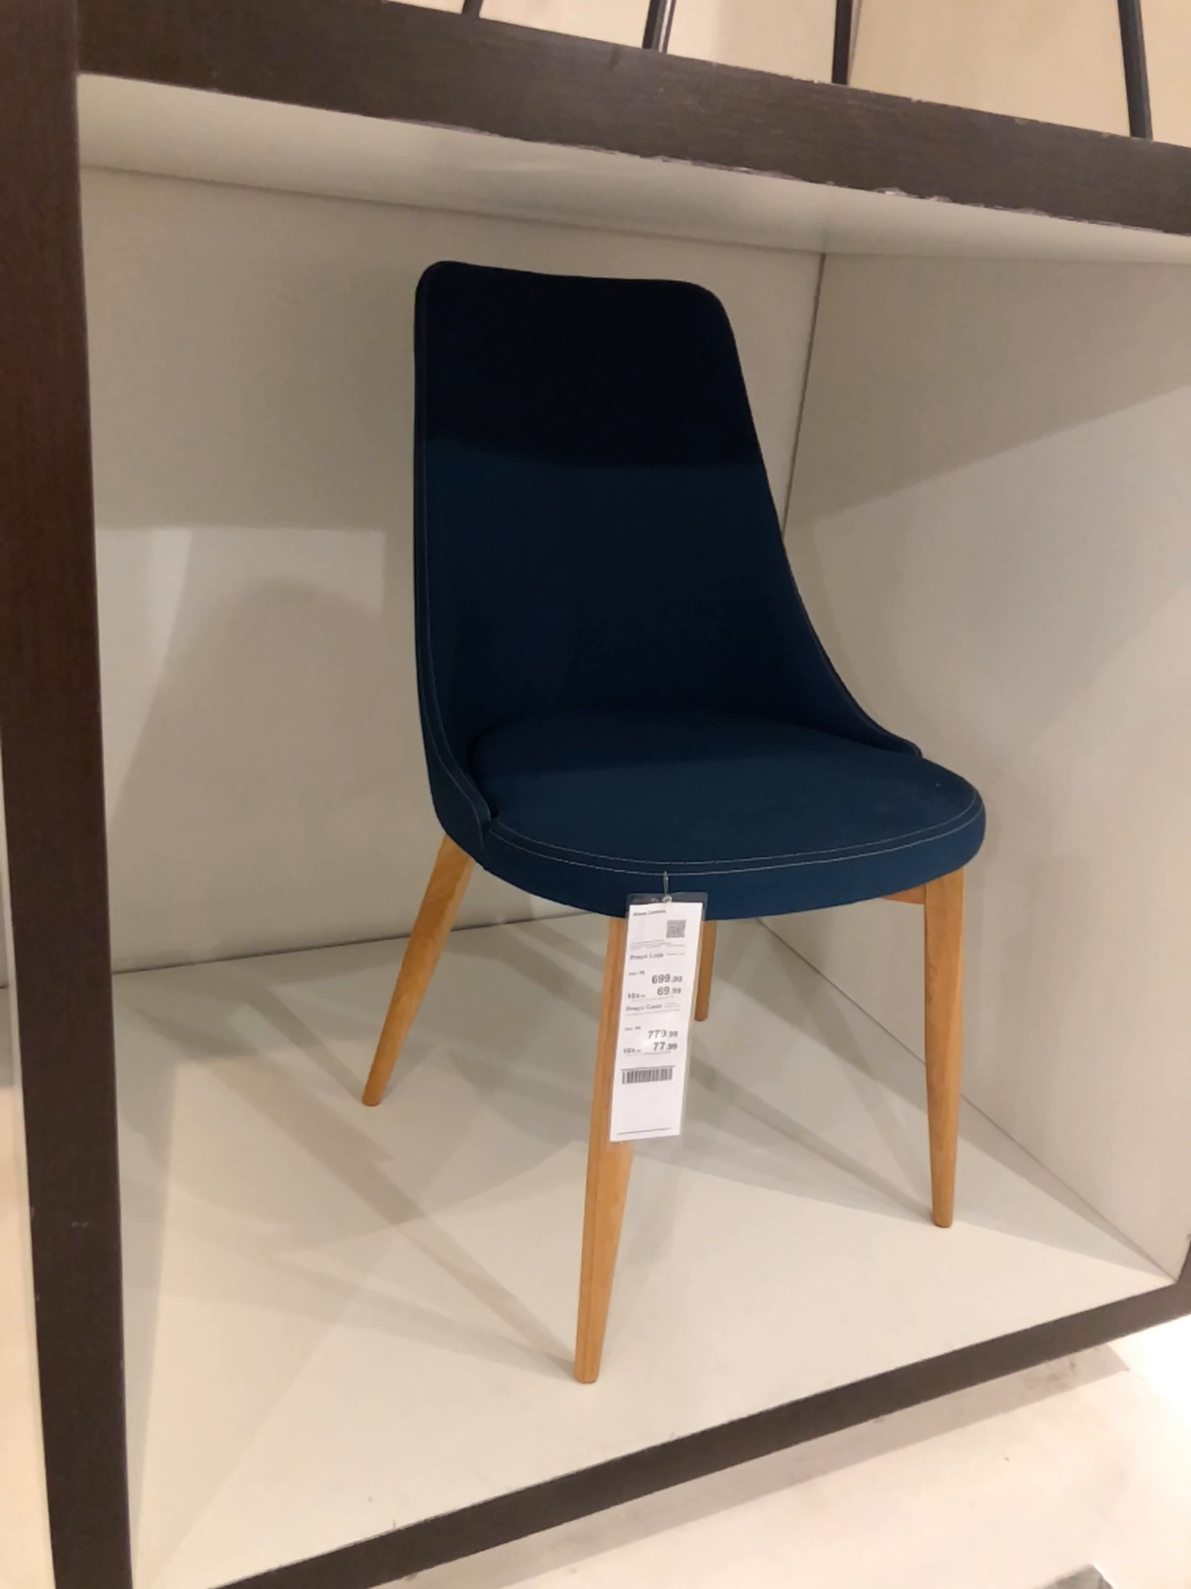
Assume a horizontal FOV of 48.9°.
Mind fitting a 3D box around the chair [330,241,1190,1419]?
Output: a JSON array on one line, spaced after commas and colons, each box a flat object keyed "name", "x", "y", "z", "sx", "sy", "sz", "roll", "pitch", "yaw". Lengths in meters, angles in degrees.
[{"name": "chair", "x": 0.095, "y": -0.026, "z": 1.238, "sx": 0.521, "sy": 0.864, "sz": 0.522, "roll": -8, "pitch": 24, "yaw": -30}]
